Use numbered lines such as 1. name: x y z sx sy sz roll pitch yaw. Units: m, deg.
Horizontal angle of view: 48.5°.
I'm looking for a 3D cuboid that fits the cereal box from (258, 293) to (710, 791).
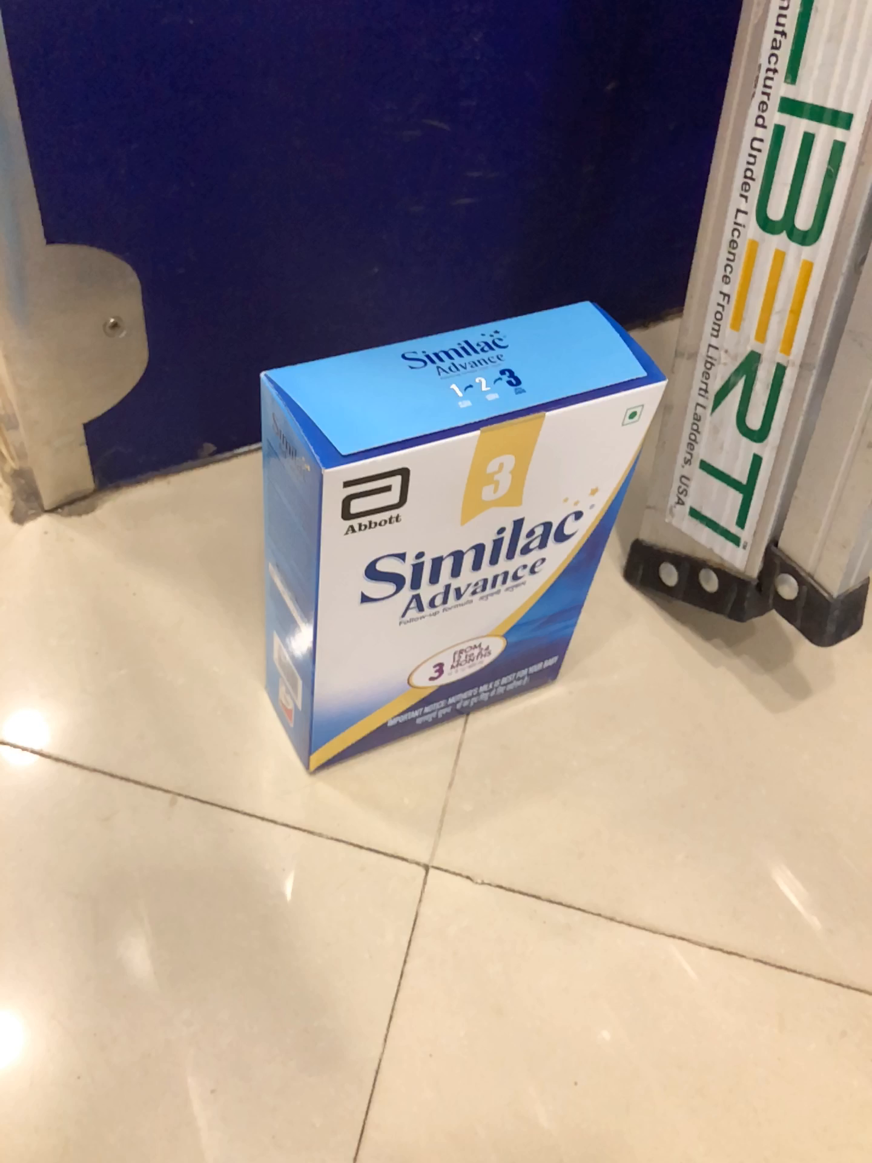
1. cereal box: 0.005 -0.006 0.388 0.140 0.199 0.050 -17 57 -22
